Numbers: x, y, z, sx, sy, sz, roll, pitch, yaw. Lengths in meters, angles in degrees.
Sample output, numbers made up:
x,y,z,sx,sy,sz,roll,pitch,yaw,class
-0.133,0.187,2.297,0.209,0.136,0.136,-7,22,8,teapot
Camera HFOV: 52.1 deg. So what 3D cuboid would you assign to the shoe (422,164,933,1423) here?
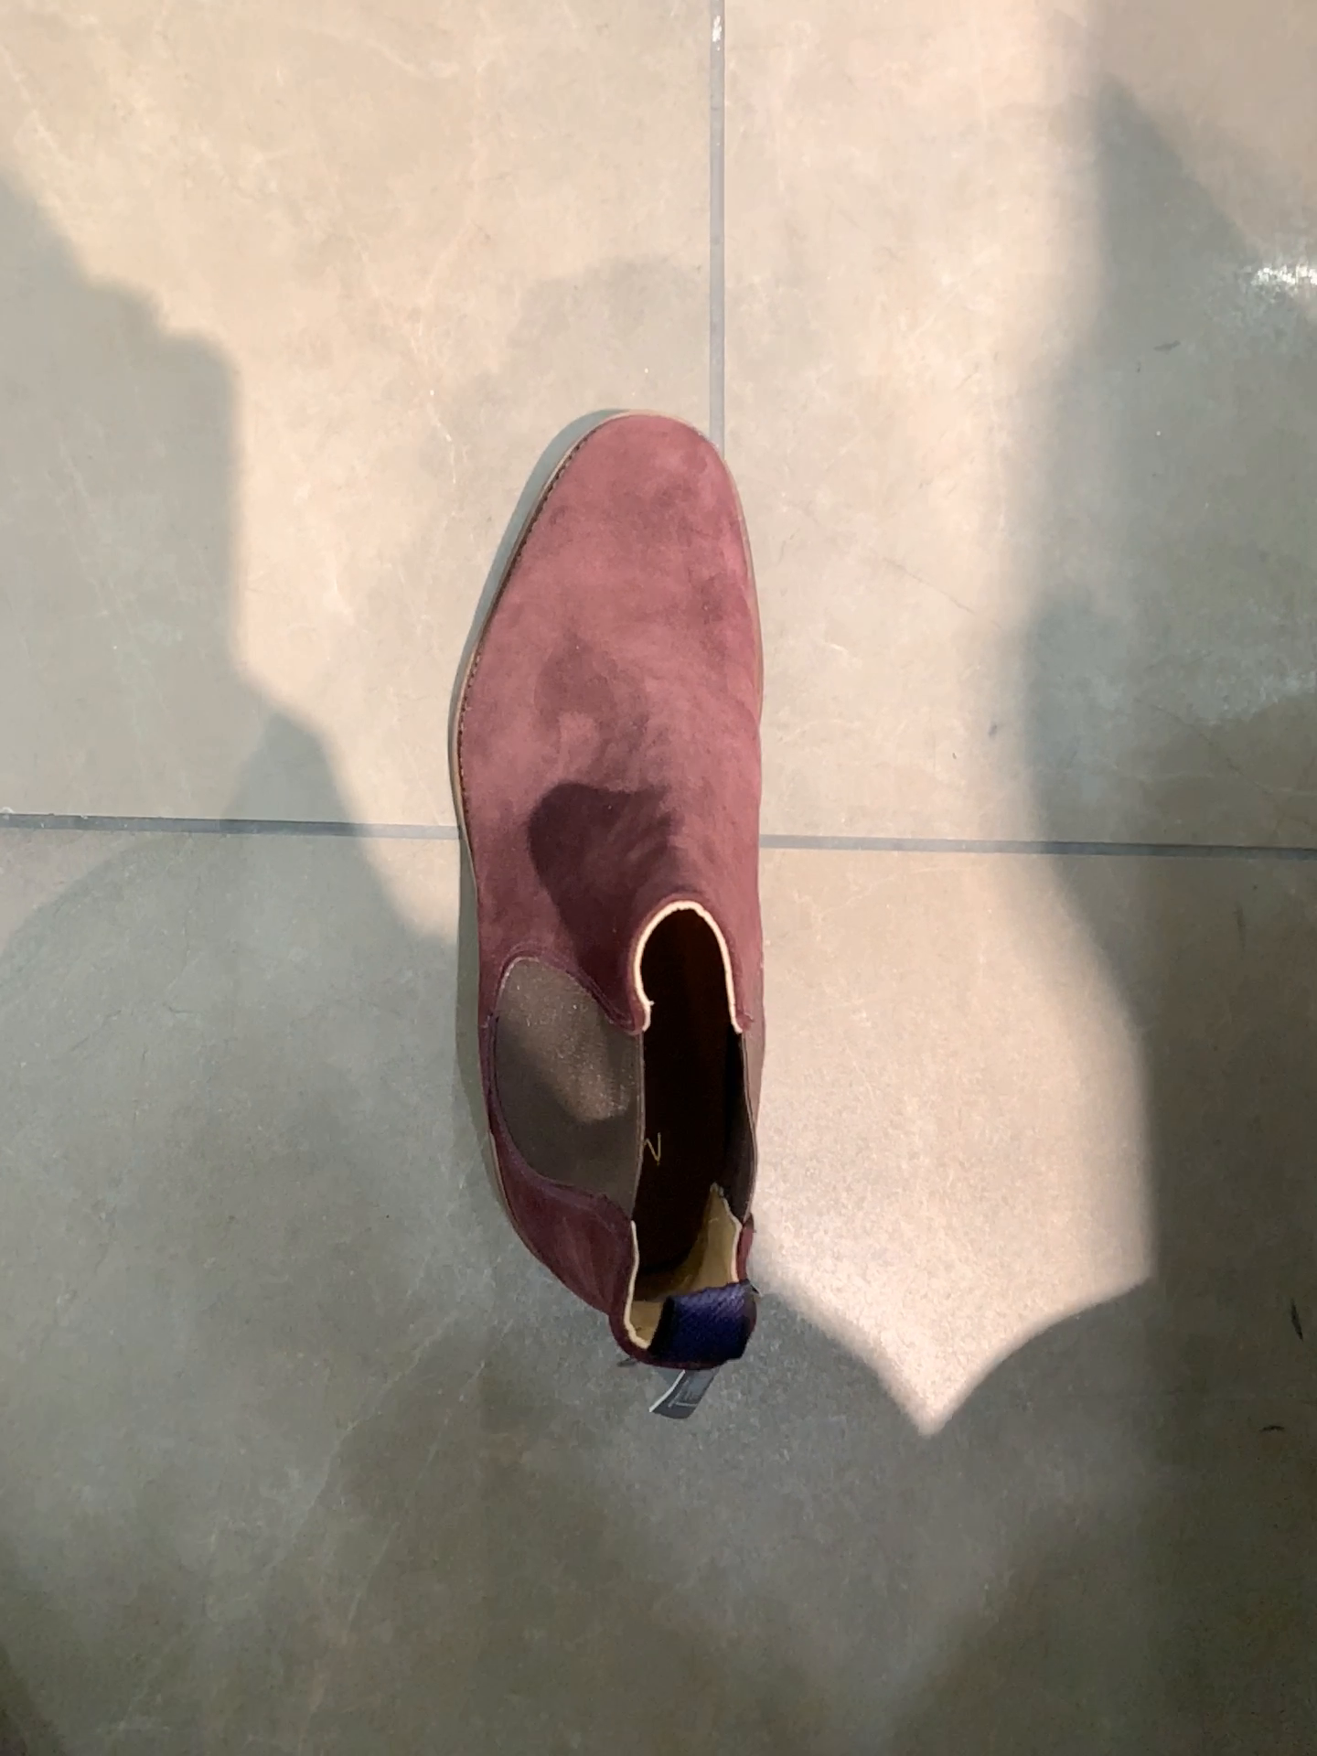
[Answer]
x,y,z,sx,sy,sz,roll,pitch,yaw,class
-0.008,-0.019,0.401,0.114,0.162,0.297,-1,83,-7,shoe
